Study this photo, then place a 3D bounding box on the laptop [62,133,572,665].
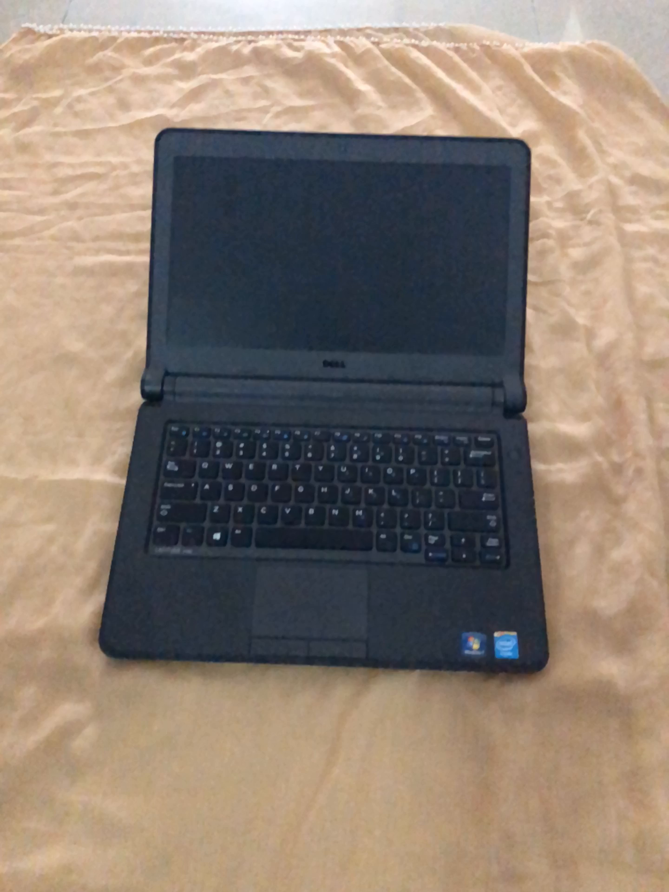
[{"bbox_3d":[-0.005,-0.055,0.576,0.308,0.092,0.410,2,64,0],"label":"laptop"}]
